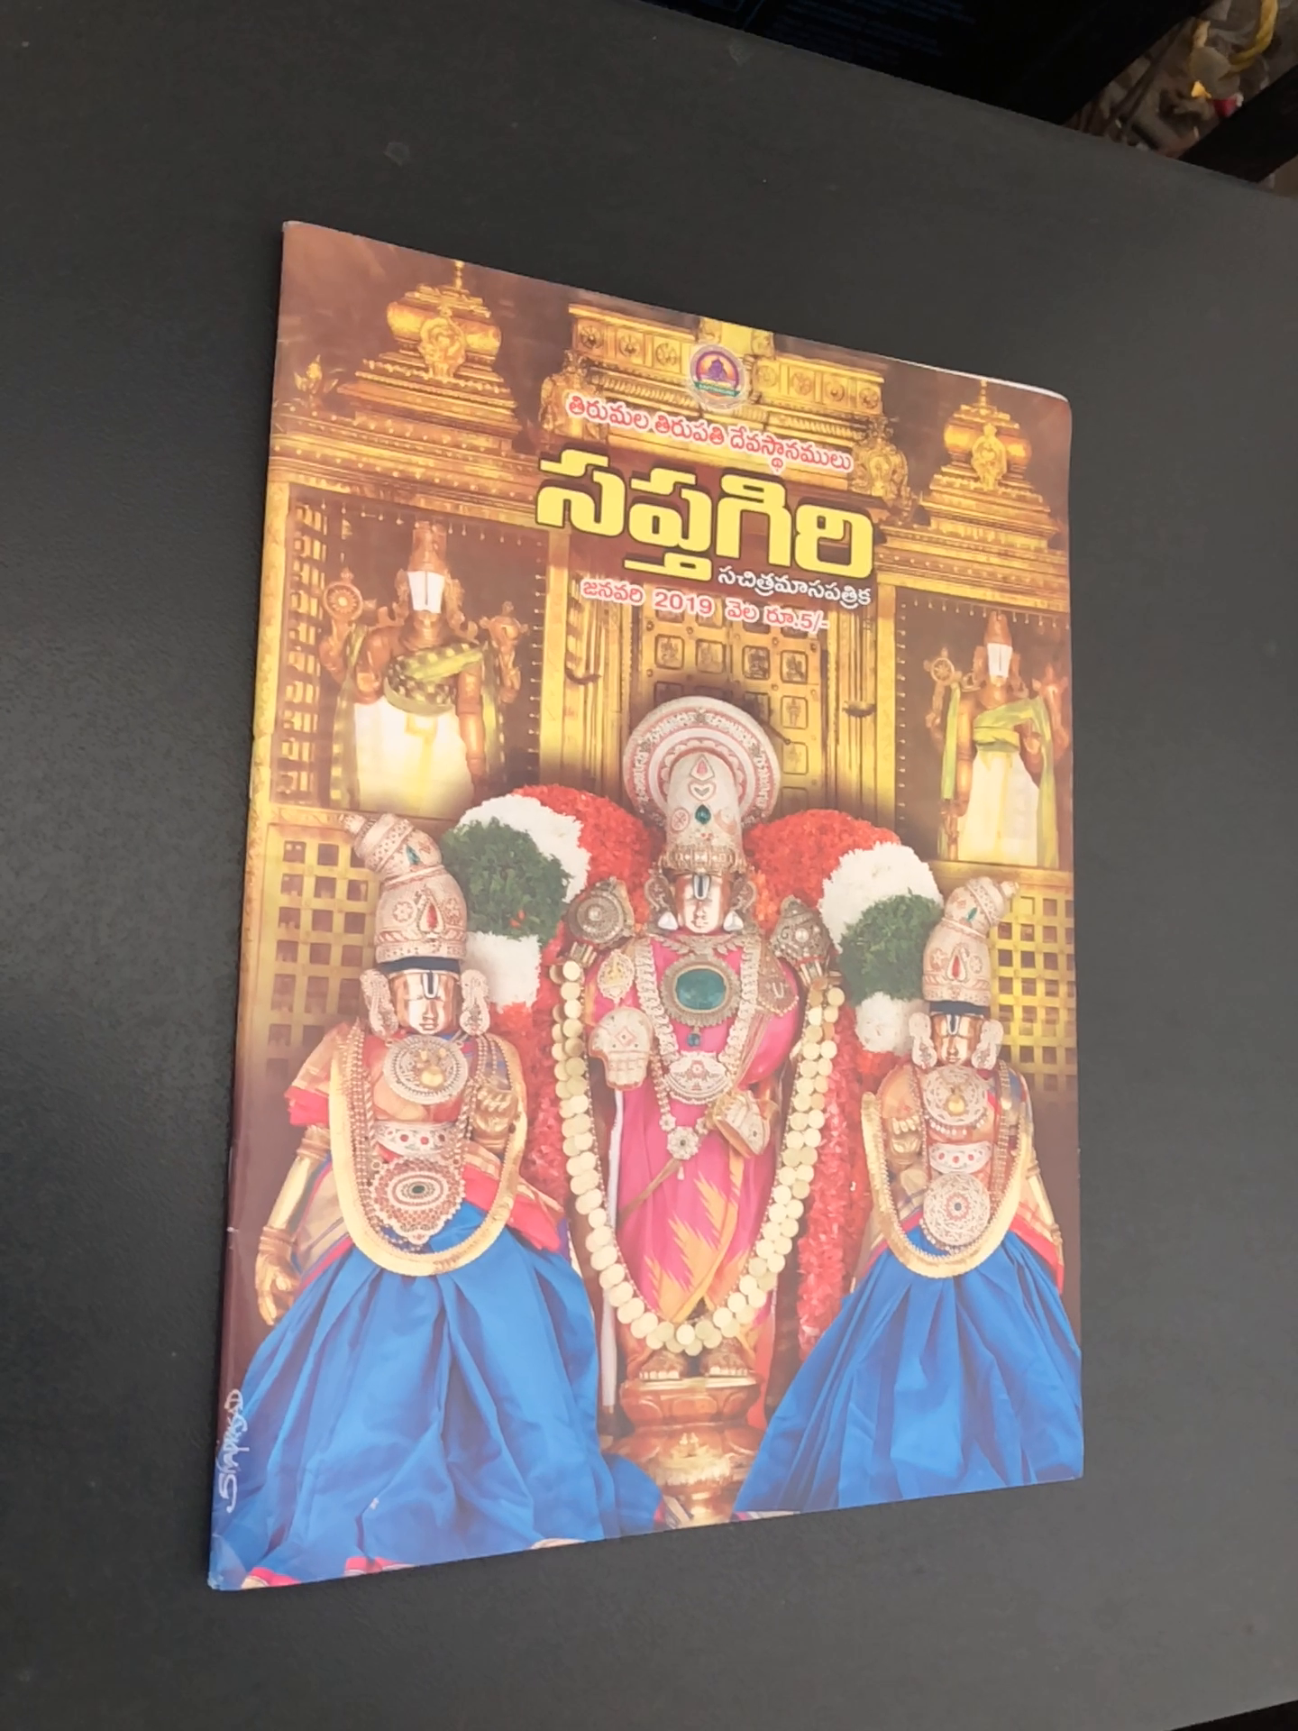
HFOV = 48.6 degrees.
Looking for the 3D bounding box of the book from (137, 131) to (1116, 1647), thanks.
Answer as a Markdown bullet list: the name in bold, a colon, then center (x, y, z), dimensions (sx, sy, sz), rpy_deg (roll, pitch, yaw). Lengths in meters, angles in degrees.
- **book**: center (0.005, 0.003, 0.306), dimensions (0.200, 0.030, 0.270), rpy_deg (3, 83, -22)
